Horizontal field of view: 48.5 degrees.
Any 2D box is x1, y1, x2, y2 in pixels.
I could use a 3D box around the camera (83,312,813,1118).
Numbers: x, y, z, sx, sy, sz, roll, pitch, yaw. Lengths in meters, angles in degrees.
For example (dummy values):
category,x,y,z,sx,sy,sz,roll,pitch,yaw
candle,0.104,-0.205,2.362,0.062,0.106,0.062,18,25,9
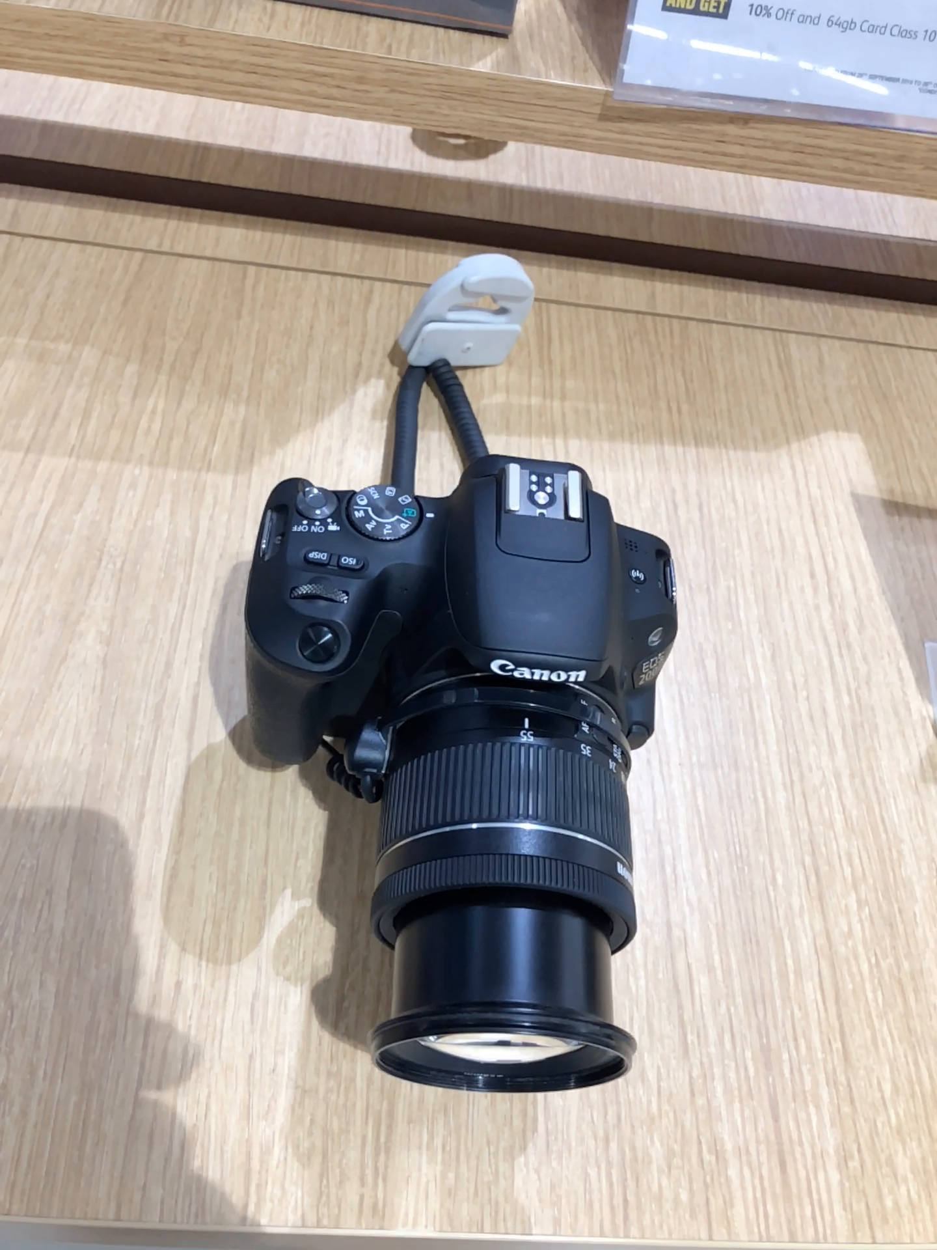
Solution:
category,x,y,z,sx,sy,sz,roll,pitch,yaw
camera,-0.007,0.022,0.257,0.120,0.099,0.161,5,54,-6
